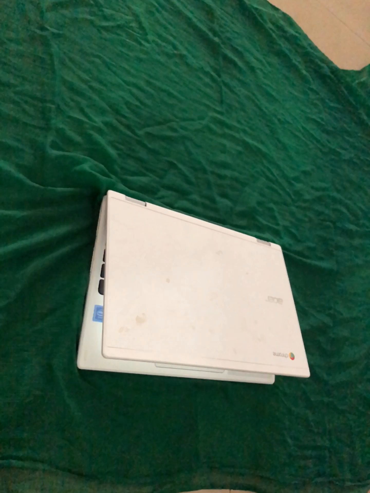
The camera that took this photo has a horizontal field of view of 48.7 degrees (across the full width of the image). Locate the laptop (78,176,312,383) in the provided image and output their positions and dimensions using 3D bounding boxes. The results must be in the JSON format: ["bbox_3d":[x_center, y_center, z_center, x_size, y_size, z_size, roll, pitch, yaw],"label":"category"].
[{"bbox_3d":[0.034,0.055,0.500,0.281,0.065,0.193,16,69,-30],"label":"laptop"}]
